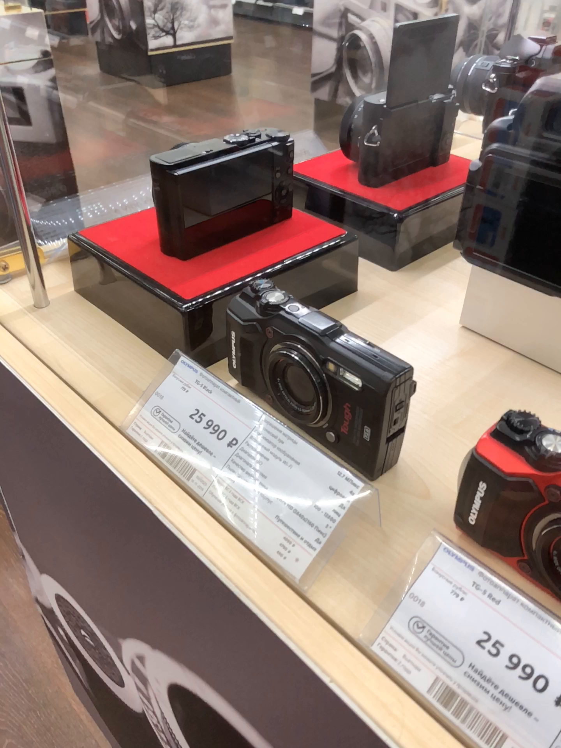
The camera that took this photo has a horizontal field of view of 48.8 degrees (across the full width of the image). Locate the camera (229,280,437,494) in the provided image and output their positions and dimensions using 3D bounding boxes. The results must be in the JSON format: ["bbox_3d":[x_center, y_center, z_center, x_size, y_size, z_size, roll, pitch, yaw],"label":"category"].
[{"bbox_3d":[0.022,0.003,0.330,0.030,0.060,0.117,-28,45,-33],"label":"camera"}]

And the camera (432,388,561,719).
[{"bbox_3d":[0.120,0.062,0.237,0.030,0.060,0.117,-28,45,-33],"label":"camera"}]
